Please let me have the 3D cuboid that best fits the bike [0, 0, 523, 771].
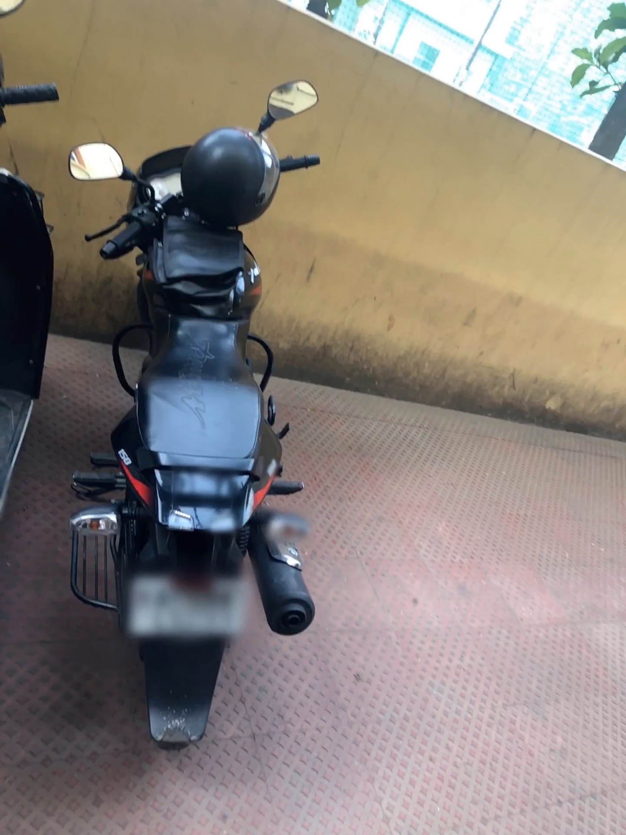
[{"bbox_3d":[-0.463,-0.185,1.764,0.826,1.057,1.611,11,35,-27],"label":"bike"}]
